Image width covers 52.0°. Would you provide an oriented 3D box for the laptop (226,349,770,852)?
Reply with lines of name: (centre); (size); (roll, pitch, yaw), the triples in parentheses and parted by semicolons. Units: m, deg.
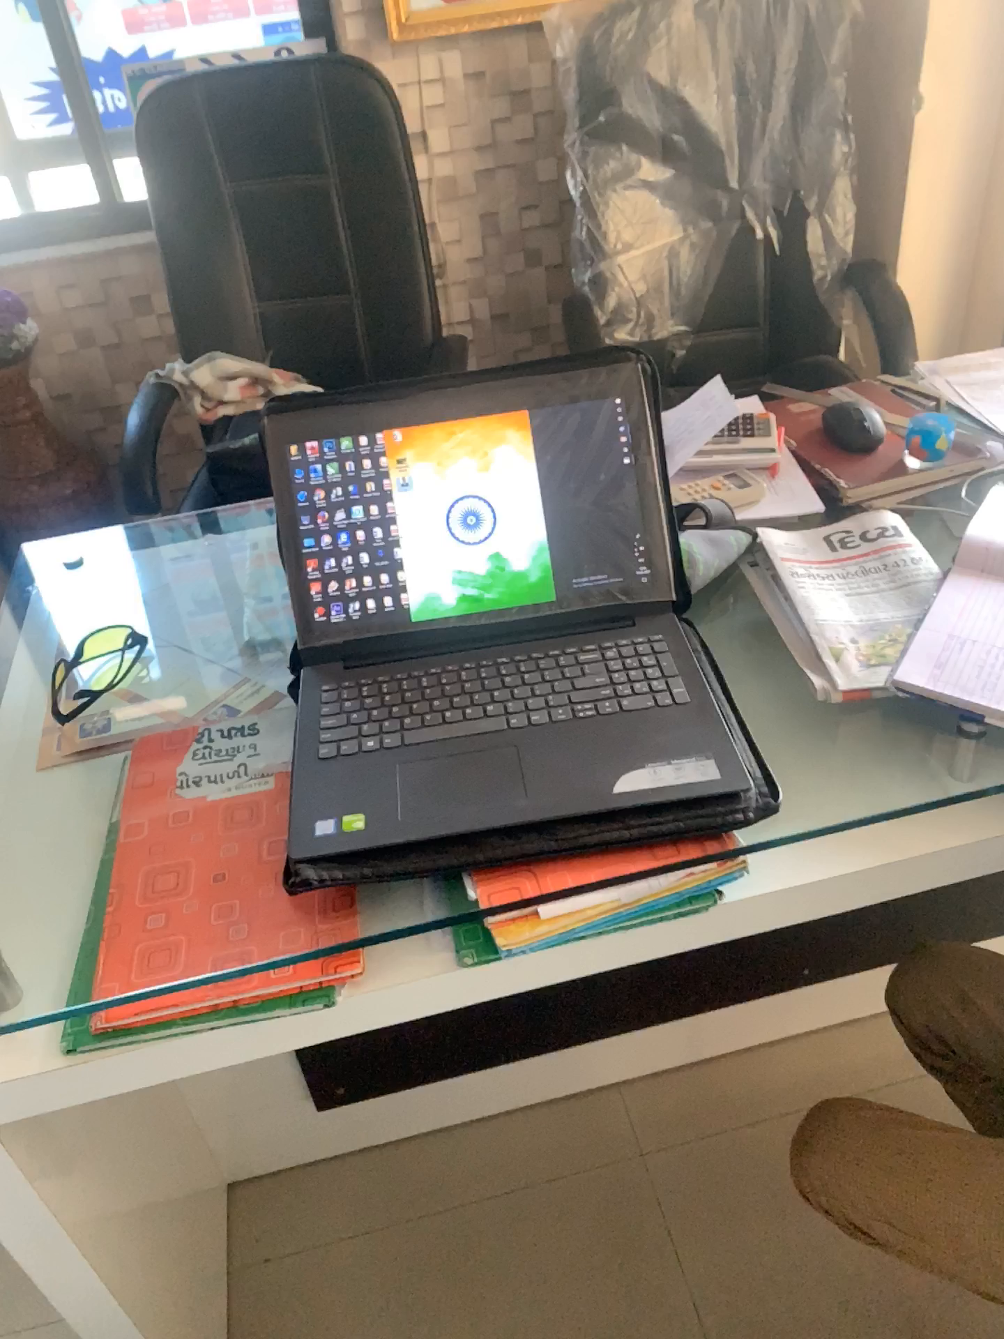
laptop: (-0.014, -0.081, 0.833); (0.334, 0.175, 0.392); (-8, 37, -1)
